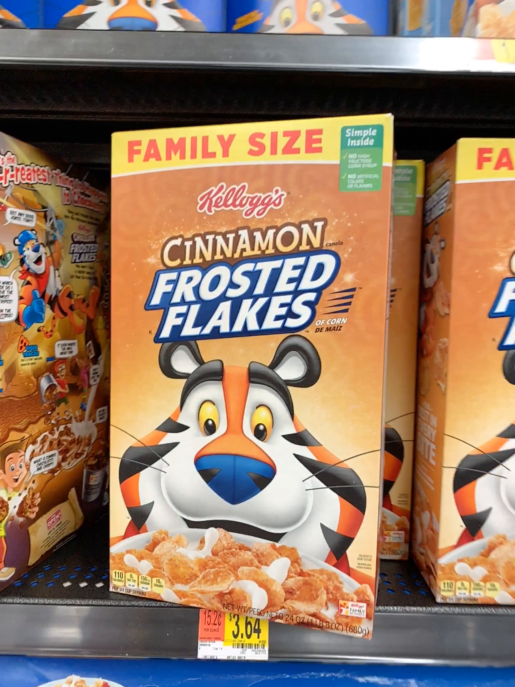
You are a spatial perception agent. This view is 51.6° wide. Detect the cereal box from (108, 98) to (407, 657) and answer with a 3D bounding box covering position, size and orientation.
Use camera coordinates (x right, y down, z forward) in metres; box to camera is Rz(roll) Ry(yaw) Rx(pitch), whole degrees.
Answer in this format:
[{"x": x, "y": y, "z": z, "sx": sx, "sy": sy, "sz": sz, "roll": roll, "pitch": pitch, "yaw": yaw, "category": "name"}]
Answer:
[{"x": 0.000, "y": 0.019, "z": 0.391, "sx": 0.200, "sy": 0.340, "sz": 0.080, "roll": 2, "pitch": 2, "yaw": 17, "category": "cereal box"}]
